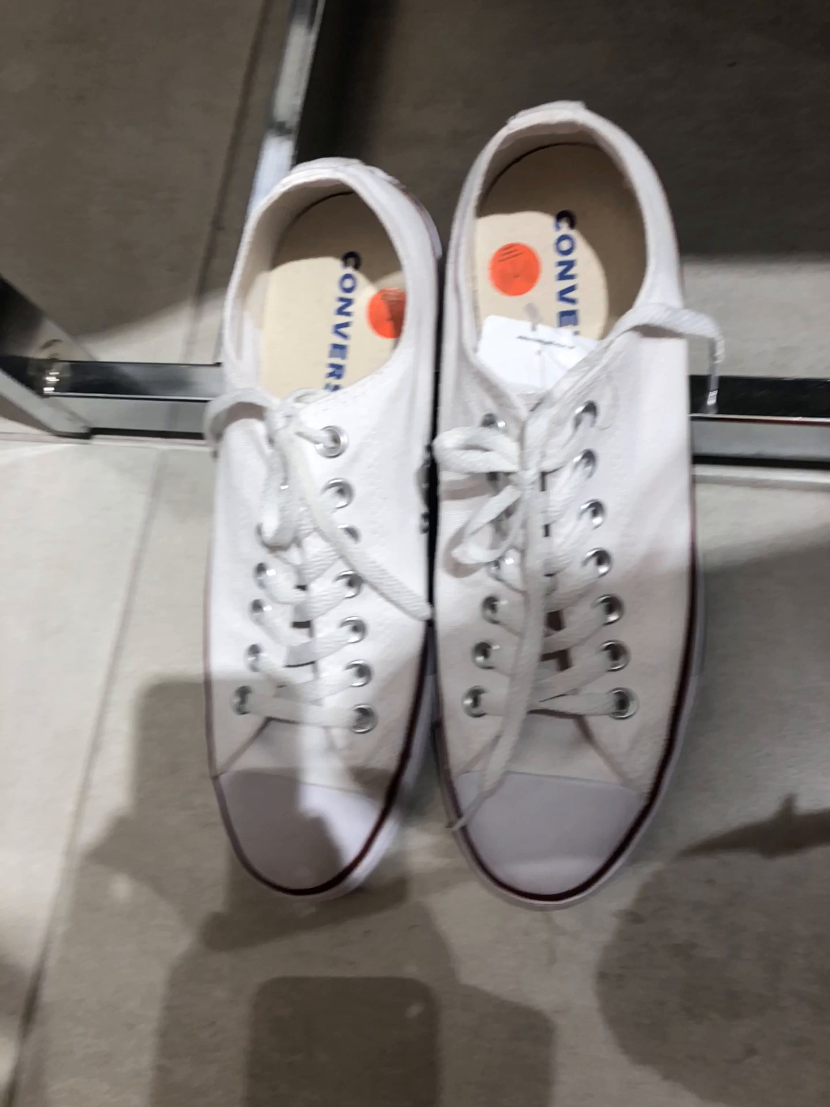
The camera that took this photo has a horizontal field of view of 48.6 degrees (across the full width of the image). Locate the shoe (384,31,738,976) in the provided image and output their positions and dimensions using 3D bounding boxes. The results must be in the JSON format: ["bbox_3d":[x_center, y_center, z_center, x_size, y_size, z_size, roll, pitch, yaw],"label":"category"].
[{"bbox_3d":[0.054,-0.015,0.339,0.100,0.090,0.290,4,96,17],"label":"shoe"}]

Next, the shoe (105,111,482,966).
[{"bbox_3d":[-0.047,-0.007,0.369,0.110,0.090,0.290,5,97,17],"label":"shoe"}]
